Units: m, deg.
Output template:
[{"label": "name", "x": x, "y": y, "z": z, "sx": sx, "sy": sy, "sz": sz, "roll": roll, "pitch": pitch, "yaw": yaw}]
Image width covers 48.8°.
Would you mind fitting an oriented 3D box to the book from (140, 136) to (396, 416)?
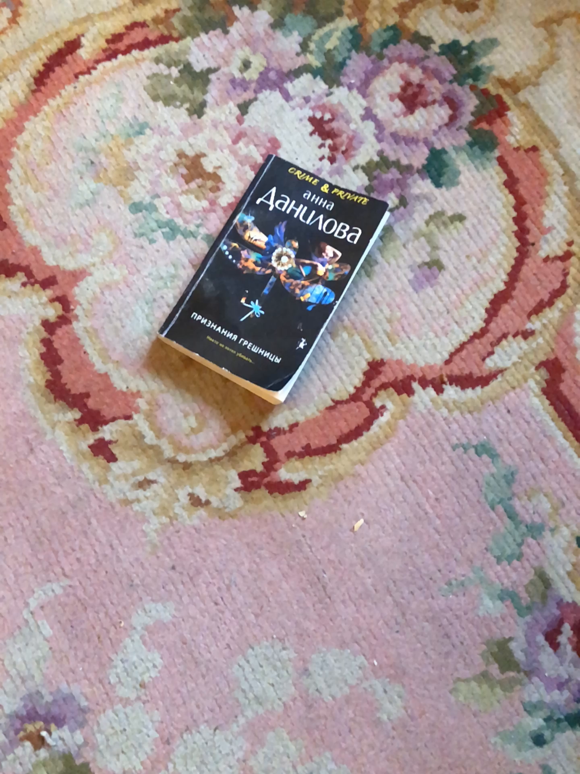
[{"label": "book", "x": -0.013, "y": -0.081, "z": 0.467, "sx": 0.110, "sy": 0.050, "sz": 0.165, "roll": 29, "pitch": 77, "yaw": 5}]
